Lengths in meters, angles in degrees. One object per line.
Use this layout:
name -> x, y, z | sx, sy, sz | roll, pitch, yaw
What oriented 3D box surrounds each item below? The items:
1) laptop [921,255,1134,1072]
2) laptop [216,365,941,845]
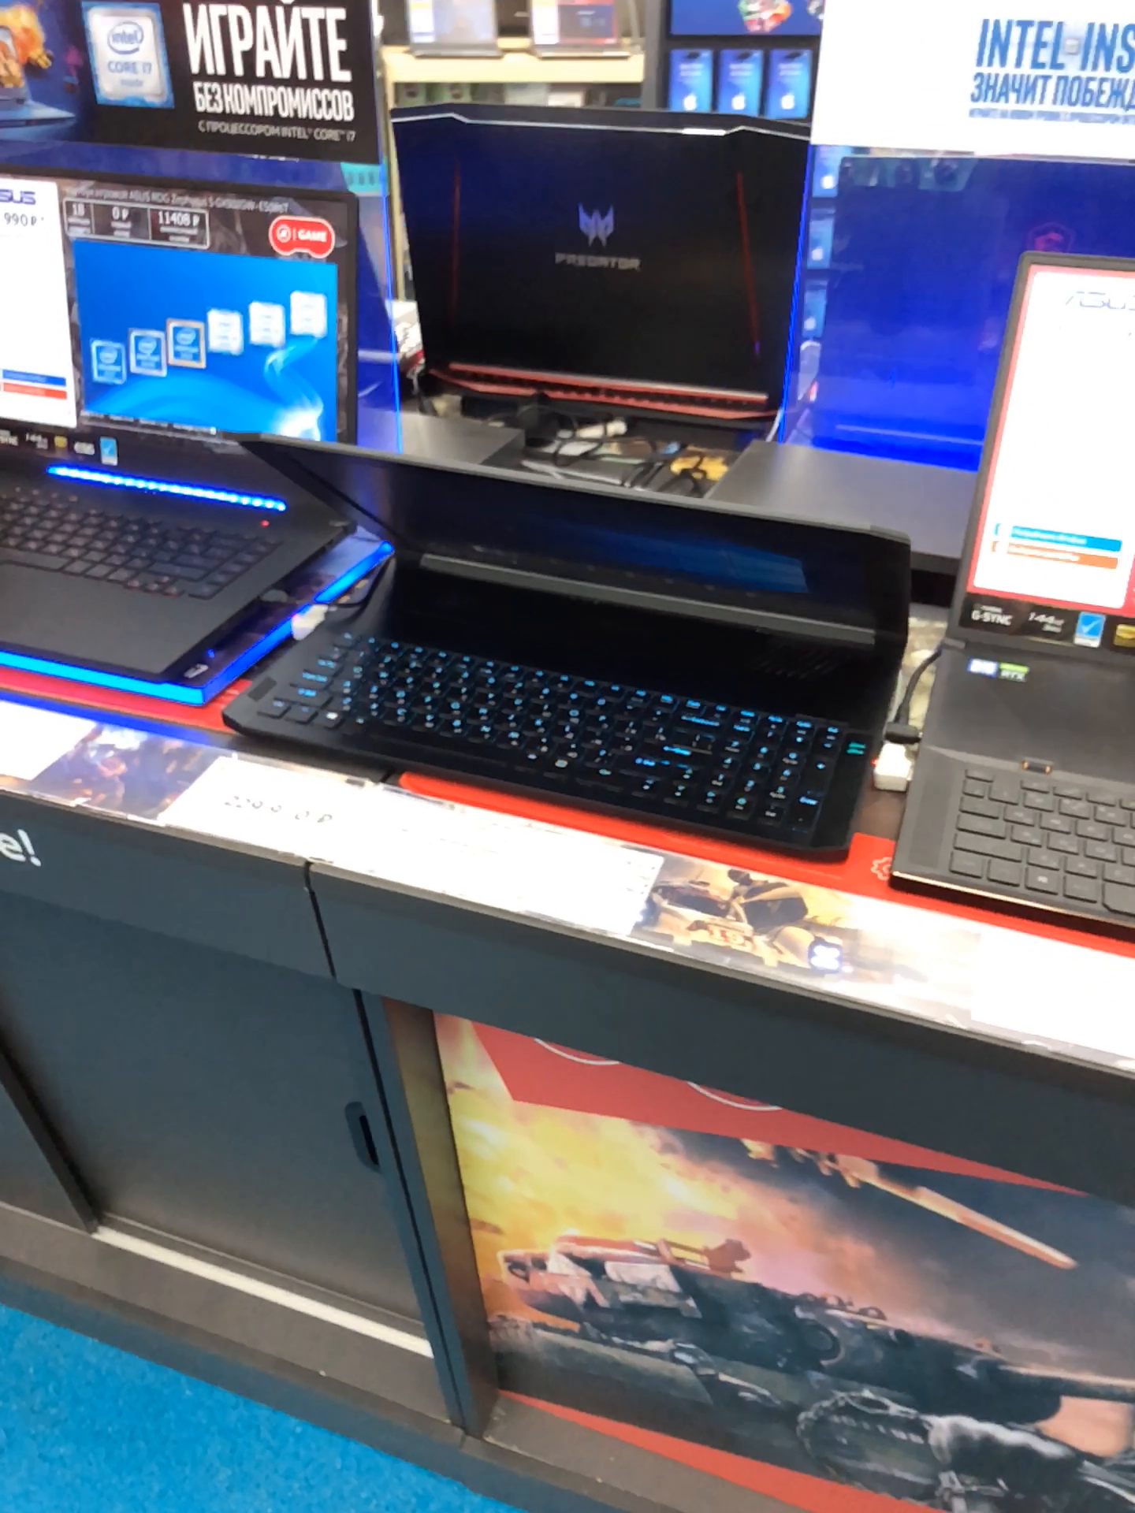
laptop -> 0.418, -0.095, 0.675 | 0.372, 0.235, 0.364 | 12, 35, 17
laptop -> 0.016, -0.113, 0.772 | 0.370, 0.152, 0.227 | 12, 35, 17
